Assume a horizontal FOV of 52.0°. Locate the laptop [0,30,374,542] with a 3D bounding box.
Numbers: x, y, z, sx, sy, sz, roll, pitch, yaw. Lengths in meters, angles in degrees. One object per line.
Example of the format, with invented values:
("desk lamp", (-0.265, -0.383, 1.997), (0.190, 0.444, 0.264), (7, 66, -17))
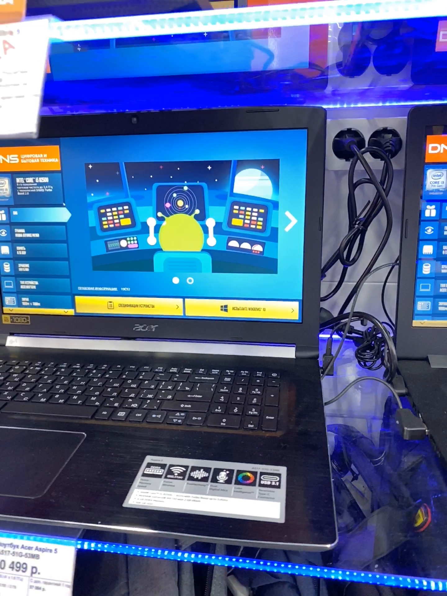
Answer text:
("laptop", (-0.120, -0.034, 0.424), (0.424, 0.278, 0.311), (1, 17, 9))
